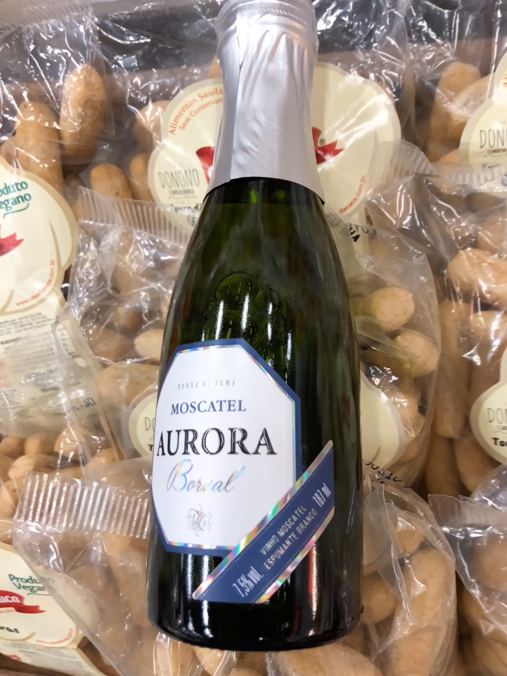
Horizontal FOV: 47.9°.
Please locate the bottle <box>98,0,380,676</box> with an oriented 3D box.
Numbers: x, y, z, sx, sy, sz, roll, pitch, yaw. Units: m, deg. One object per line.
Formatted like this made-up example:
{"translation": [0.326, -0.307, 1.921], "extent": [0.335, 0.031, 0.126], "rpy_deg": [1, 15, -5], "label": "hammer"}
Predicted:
{"translation": [0.001, -0.017, 0.158], "extent": [0.060, 0.050, 0.200], "rpy_deg": [-1, 82, 11], "label": "bottle"}
